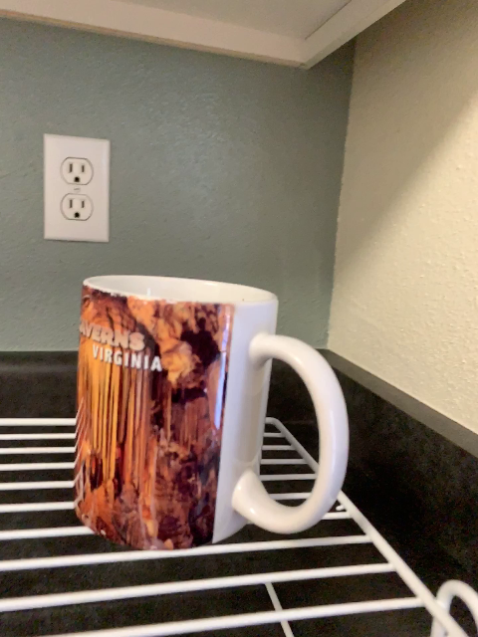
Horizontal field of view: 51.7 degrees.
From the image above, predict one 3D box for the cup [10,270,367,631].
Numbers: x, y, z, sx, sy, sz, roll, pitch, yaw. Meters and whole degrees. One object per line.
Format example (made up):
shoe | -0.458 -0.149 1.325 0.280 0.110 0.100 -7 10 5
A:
cup | -0.026 0.032 0.202 0.120 0.090 0.080 12 12 39
